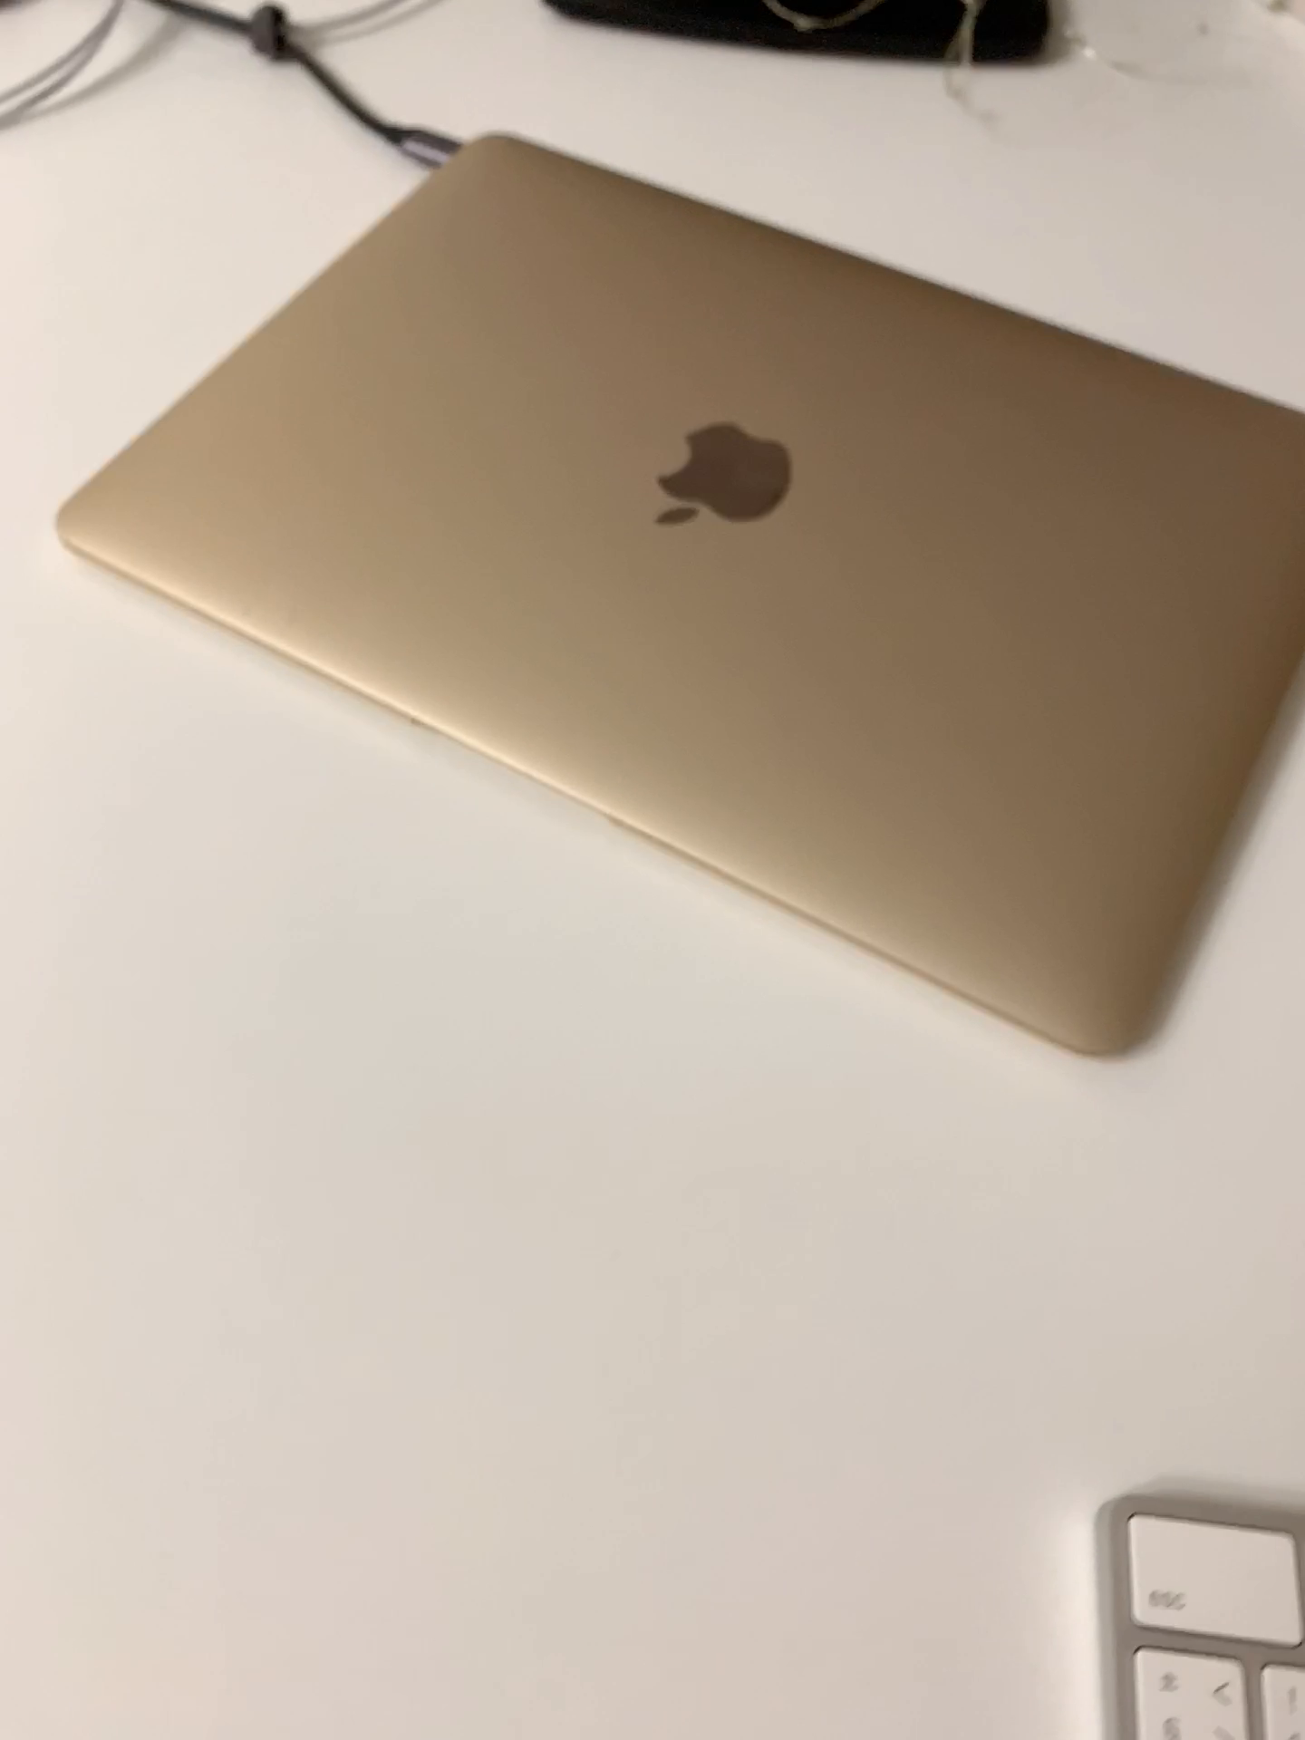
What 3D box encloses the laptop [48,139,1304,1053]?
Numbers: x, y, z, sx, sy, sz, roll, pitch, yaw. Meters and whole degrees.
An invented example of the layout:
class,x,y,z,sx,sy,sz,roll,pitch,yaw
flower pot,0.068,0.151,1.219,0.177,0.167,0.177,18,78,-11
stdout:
class,x,y,z,sx,sy,sz,roll,pitch,yaw
laptop,0.012,-0.089,0.327,0.255,0.009,0.175,27,64,16
